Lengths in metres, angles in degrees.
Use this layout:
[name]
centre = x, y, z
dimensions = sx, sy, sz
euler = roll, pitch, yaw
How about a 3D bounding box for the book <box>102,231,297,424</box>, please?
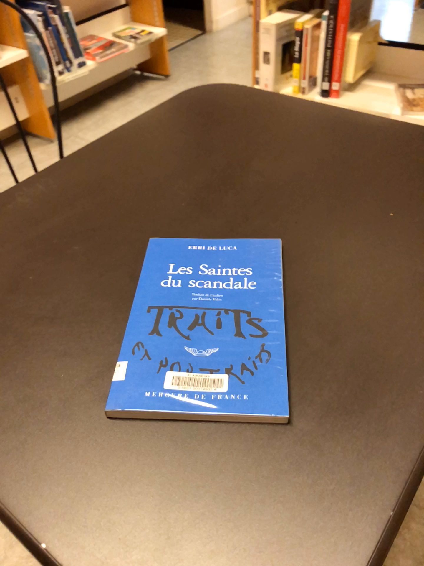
[book]
centre = -0.002, 0.024, 0.427
dimensions = 0.144, 0.017, 0.216
euler = 1, 43, 5
